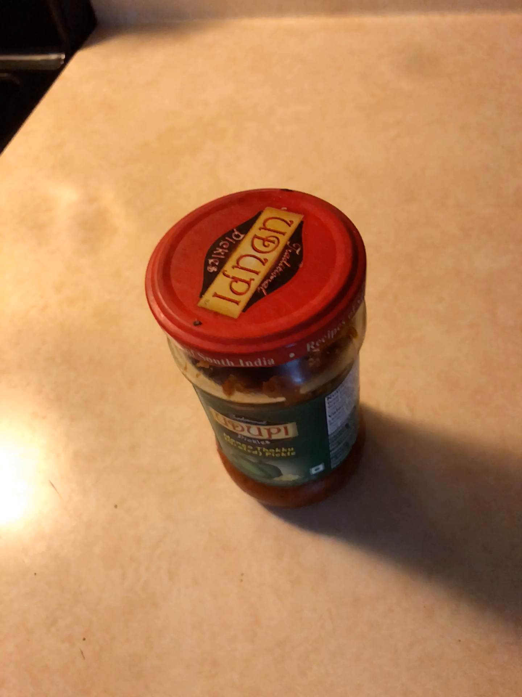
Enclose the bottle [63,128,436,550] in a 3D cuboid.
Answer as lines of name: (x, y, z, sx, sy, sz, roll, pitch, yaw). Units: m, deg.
bottle: (0.006, 0.001, 0.216, 0.080, 0.120, 0.080, -5, 53, 6)
